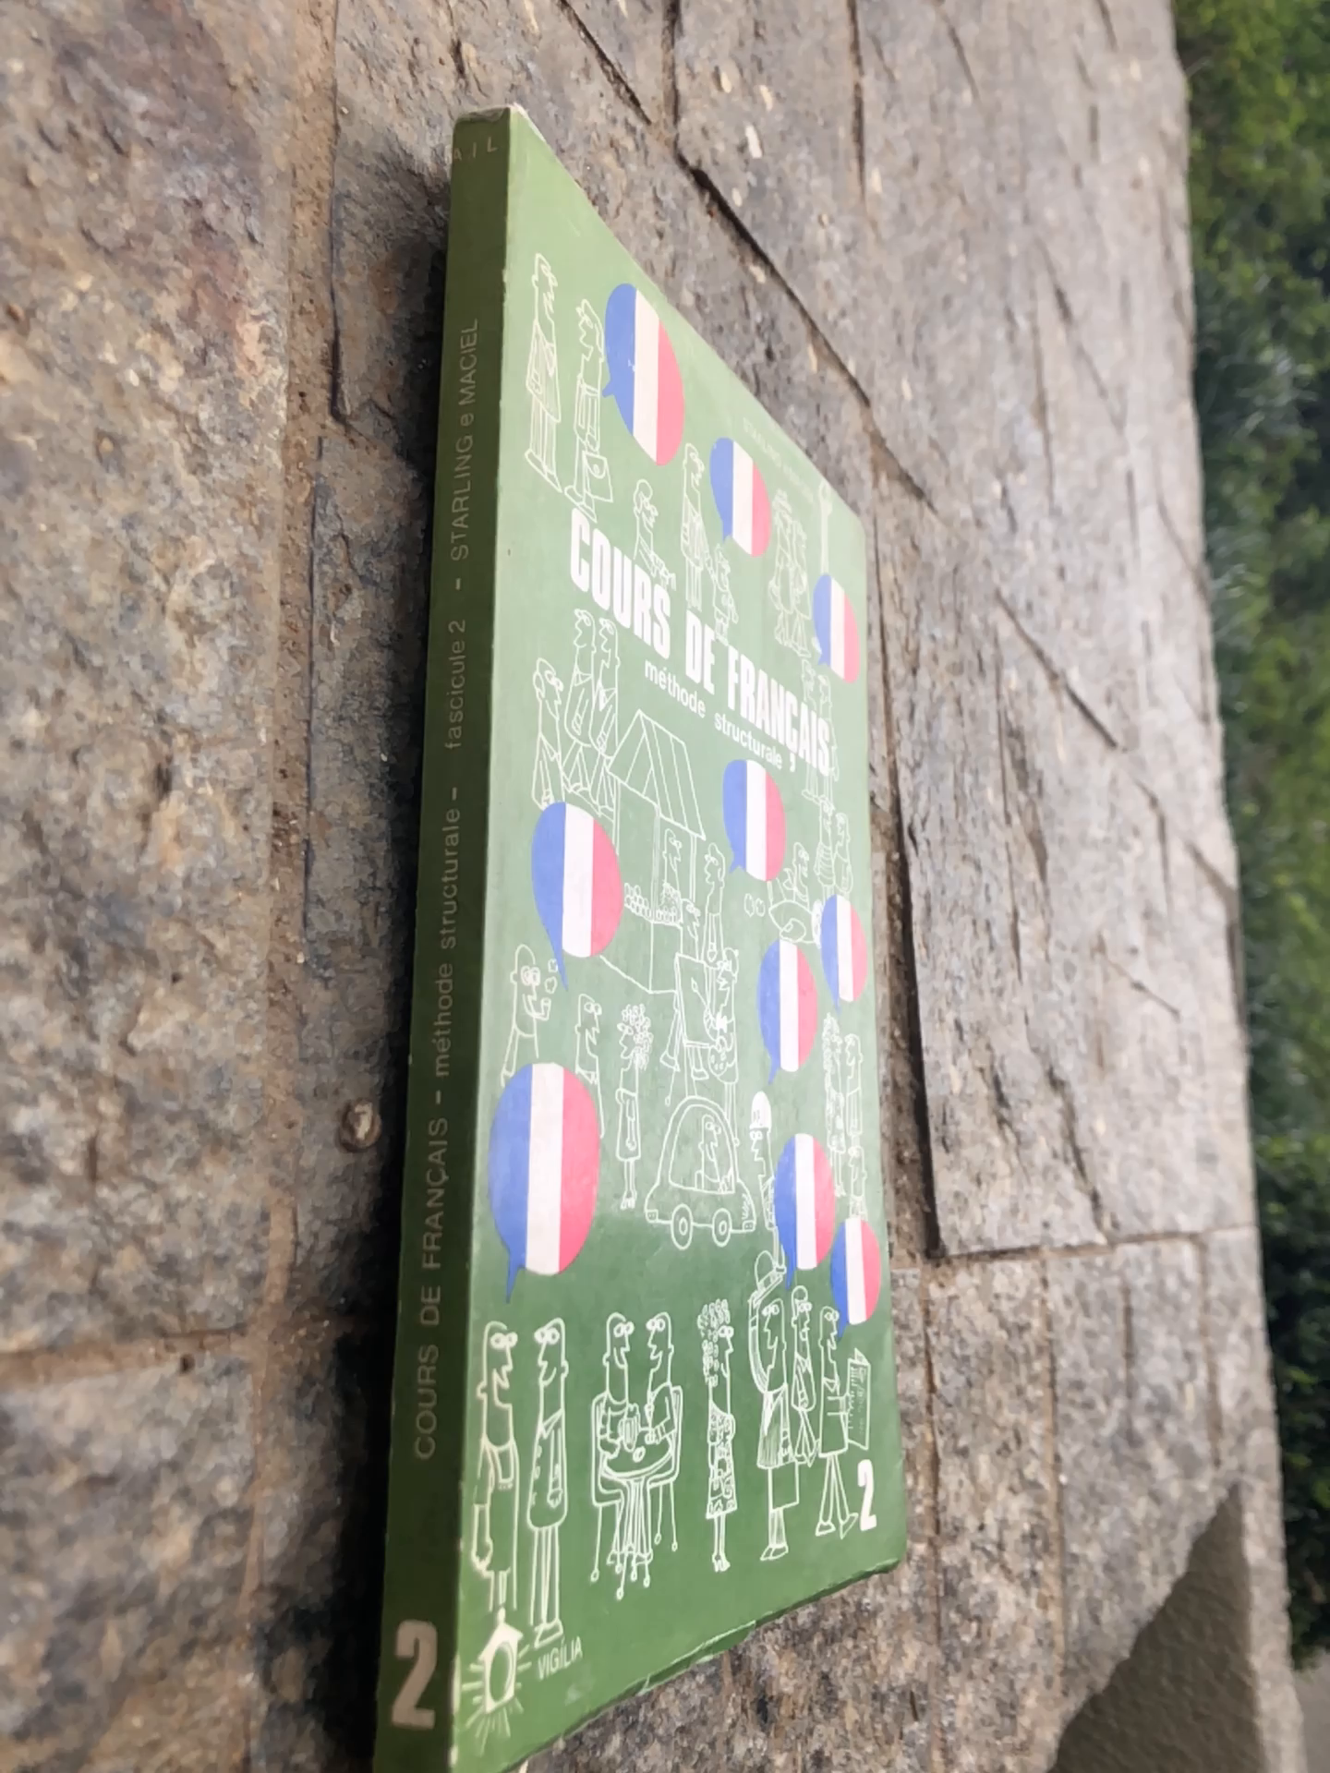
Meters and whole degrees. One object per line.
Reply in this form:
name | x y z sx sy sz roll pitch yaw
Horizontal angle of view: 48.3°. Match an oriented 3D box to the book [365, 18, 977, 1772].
book | 0.015 0.008 0.242 0.168 0.013 0.211 24 63 -59
